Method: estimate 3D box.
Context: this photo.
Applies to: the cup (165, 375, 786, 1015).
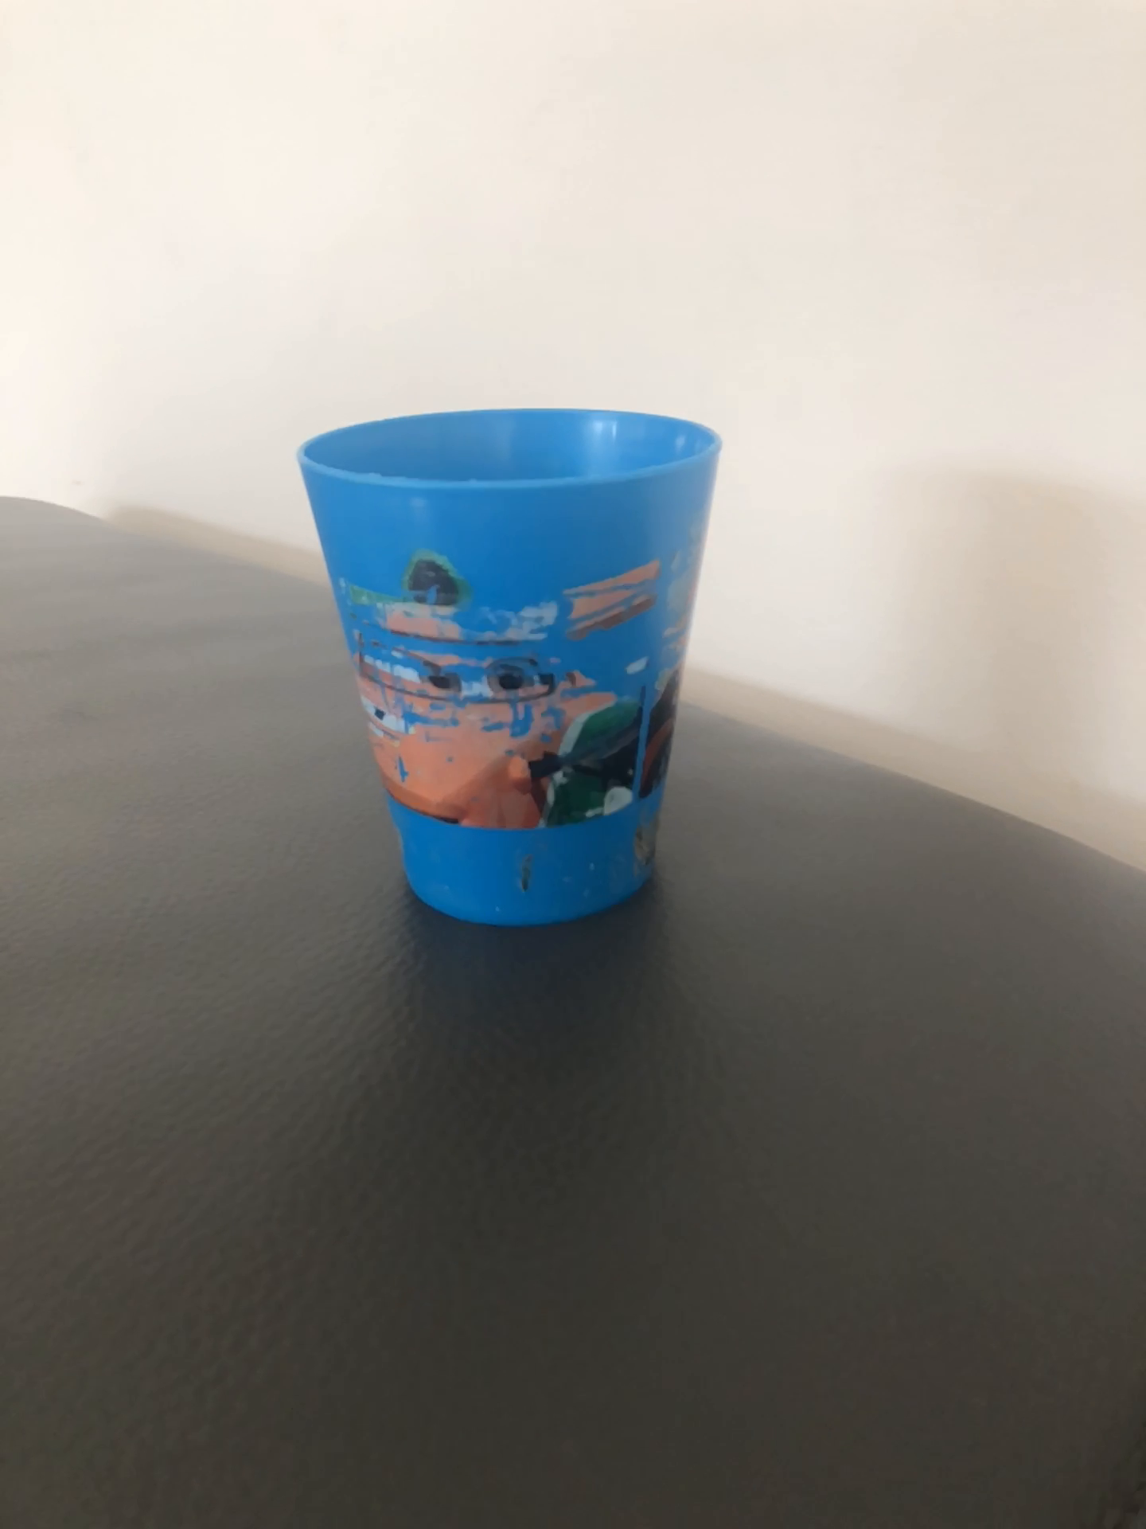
[{"bbox_3d":[-0.016,-0.022,0.249,0.080,0.090,0.080,-1,25,1],"label":"cup"}]
